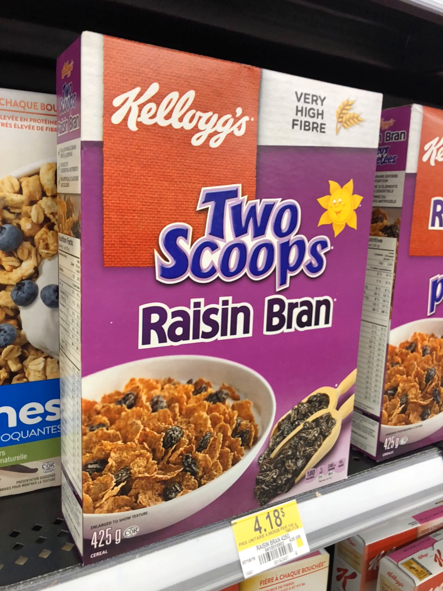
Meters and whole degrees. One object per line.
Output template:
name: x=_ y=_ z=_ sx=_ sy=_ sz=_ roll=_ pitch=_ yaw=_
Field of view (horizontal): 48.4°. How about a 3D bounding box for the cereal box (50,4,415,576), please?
cereal box: x=0.007 y=0.002 z=0.294 sx=0.200 sy=0.269 sz=0.050 roll=-2 pitch=12 yaw=-26
